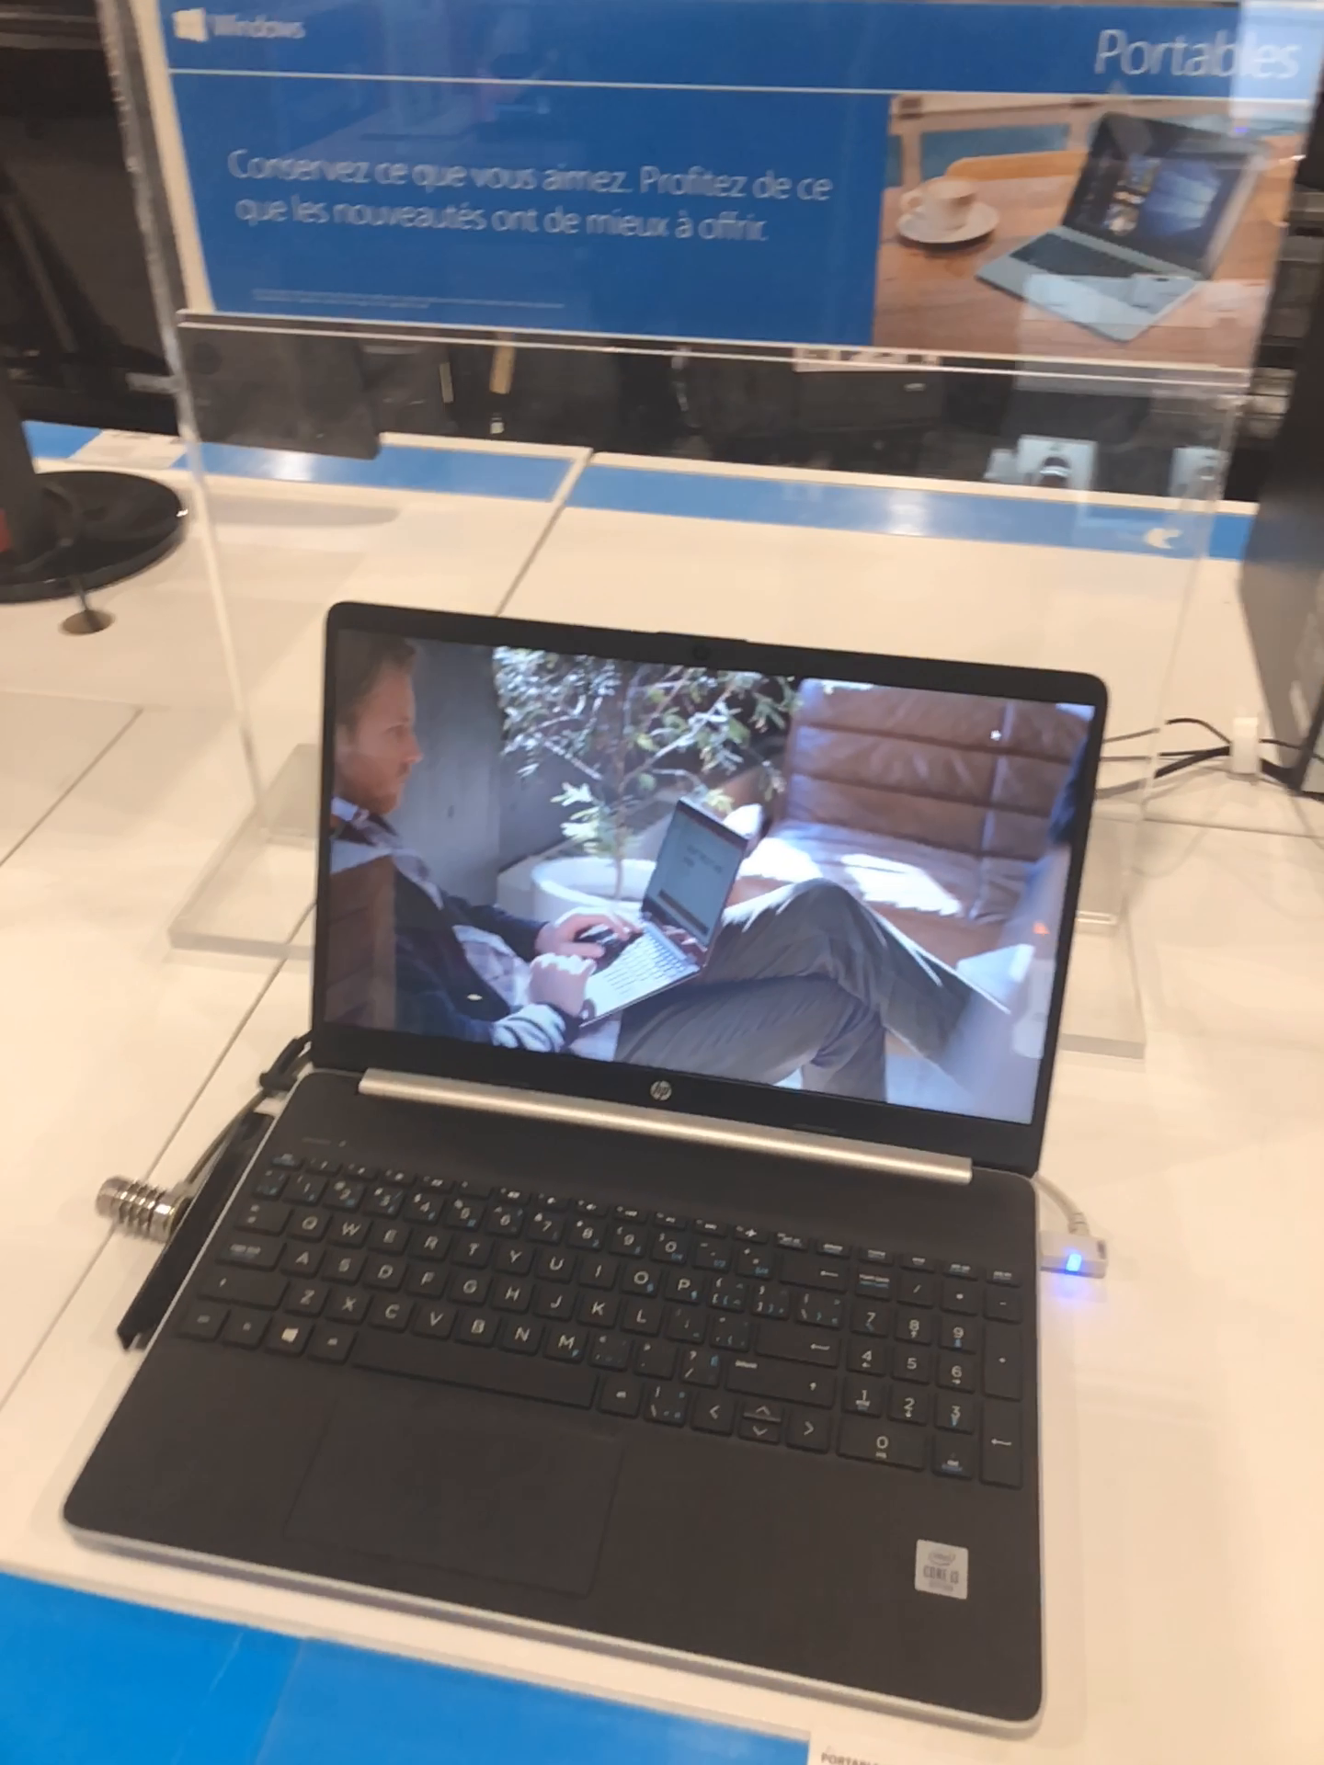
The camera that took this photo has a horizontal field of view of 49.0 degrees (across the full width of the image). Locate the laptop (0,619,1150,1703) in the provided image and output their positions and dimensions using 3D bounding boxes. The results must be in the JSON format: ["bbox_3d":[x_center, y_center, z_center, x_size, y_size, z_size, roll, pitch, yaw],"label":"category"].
[{"bbox_3d":[-0.014,0.075,0.578,0.346,0.196,0.335,7,38,8],"label":"laptop"}]
